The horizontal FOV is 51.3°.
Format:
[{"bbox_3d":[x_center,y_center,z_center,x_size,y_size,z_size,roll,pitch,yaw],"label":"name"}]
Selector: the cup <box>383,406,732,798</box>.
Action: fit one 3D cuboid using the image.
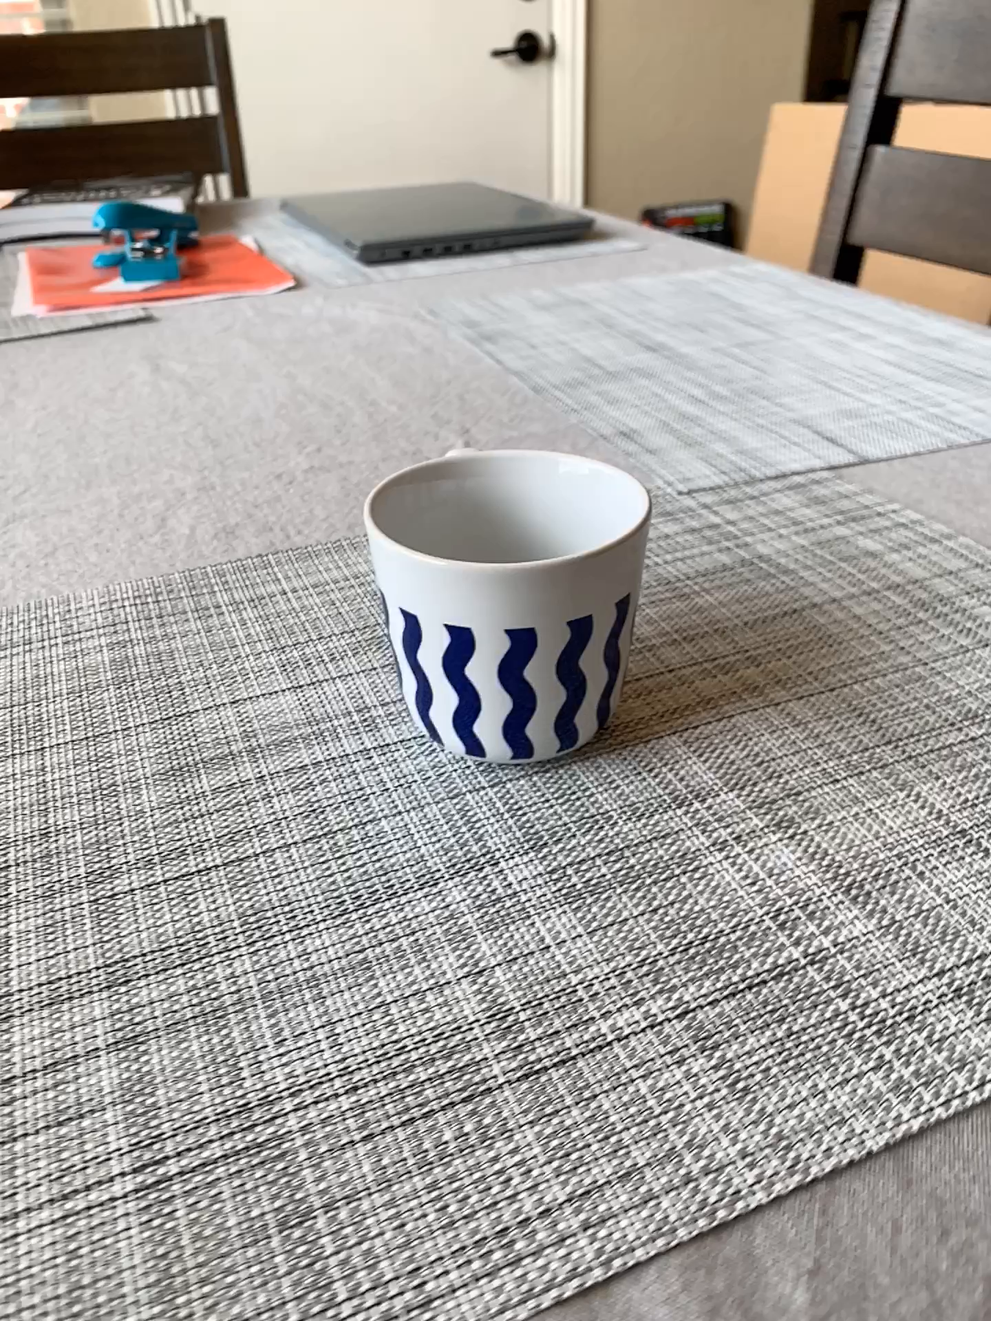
[{"bbox_3d":[0.012,-0.025,0.325,0.086,0.072,0.113,-5,32,-5],"label":"cup"}]
